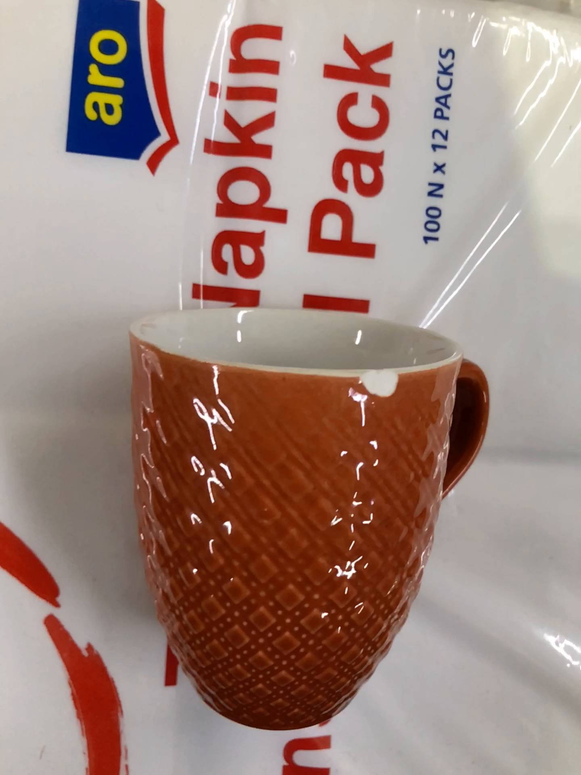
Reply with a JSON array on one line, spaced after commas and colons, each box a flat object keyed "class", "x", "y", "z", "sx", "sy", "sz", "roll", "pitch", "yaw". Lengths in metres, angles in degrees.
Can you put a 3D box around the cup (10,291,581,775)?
[{"class": "cup", "x": 0.006, "y": 0.028, "z": 0.141, "sx": 0.070, "sy": 0.100, "sz": 0.090, "roll": 10, "pitch": 101, "yaw": 40}]
